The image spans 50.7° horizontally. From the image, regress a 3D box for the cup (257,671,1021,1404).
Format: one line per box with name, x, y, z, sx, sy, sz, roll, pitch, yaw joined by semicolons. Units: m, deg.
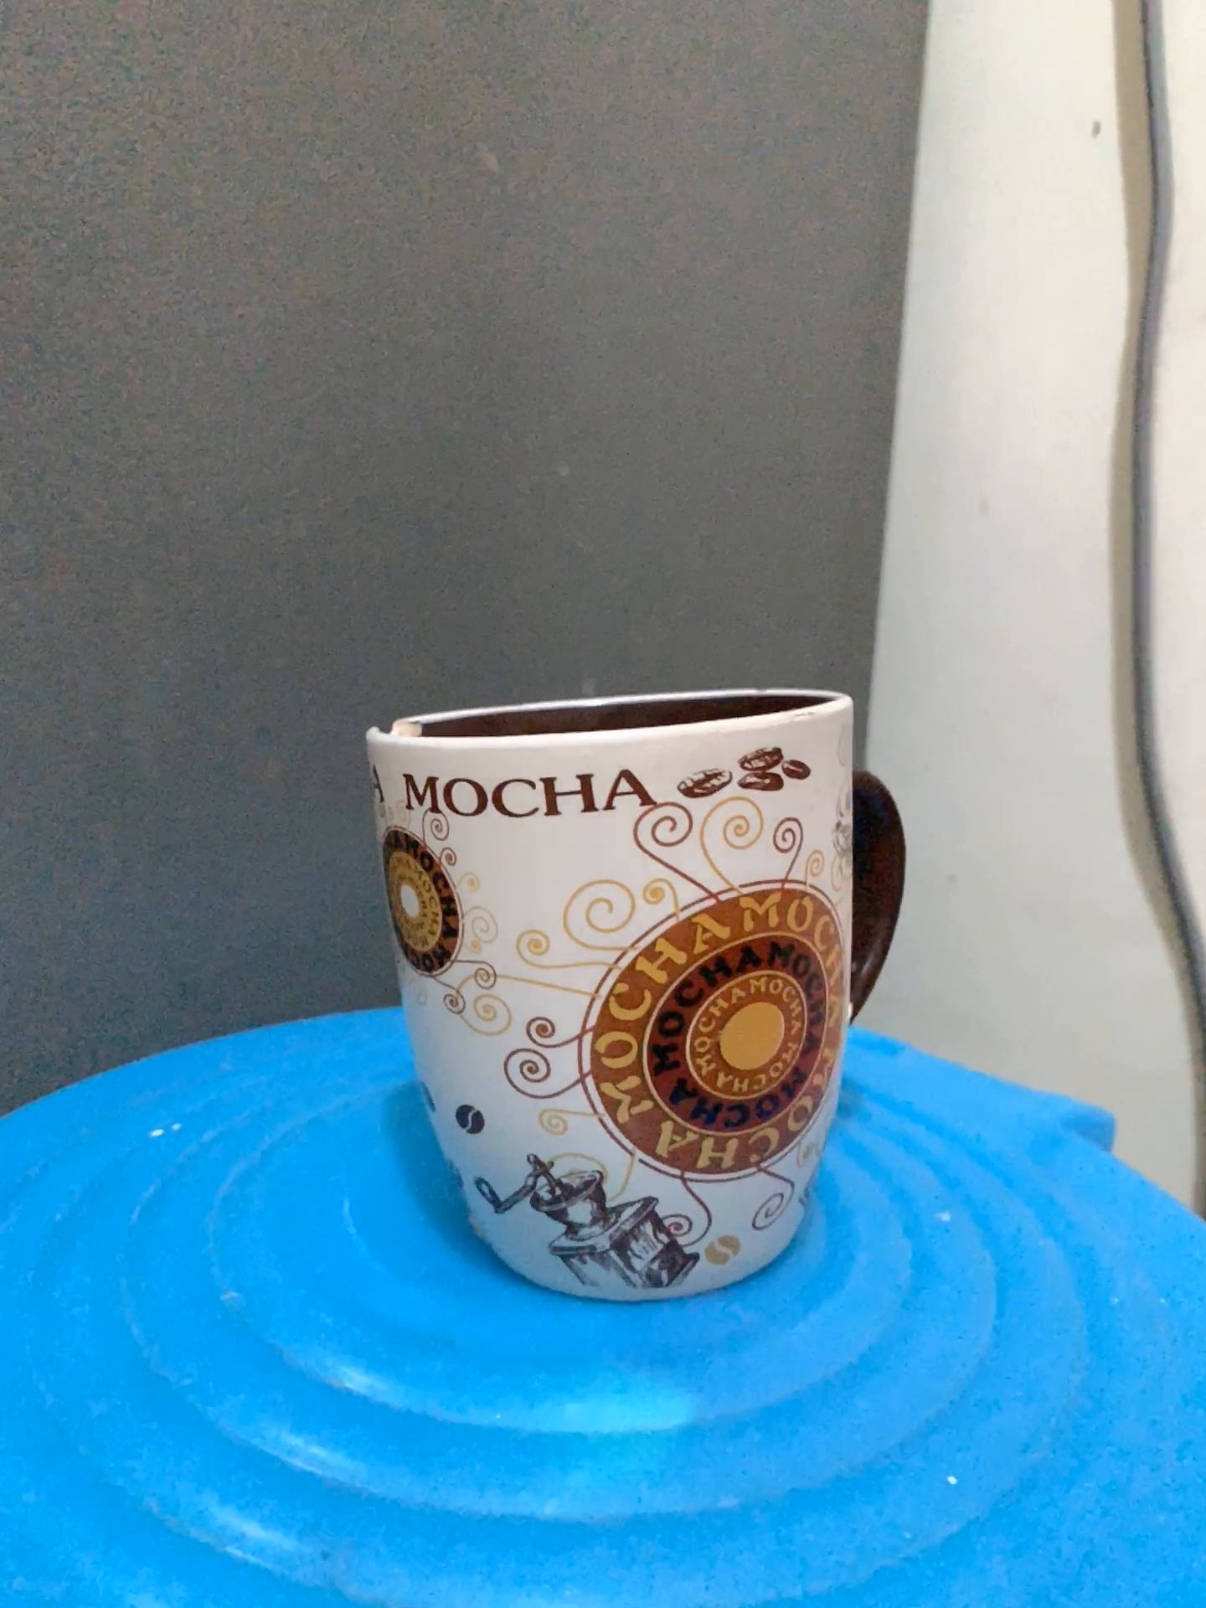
cup;0.012;0.023;0.214;0.070;0.083;0.110;5;11;43
